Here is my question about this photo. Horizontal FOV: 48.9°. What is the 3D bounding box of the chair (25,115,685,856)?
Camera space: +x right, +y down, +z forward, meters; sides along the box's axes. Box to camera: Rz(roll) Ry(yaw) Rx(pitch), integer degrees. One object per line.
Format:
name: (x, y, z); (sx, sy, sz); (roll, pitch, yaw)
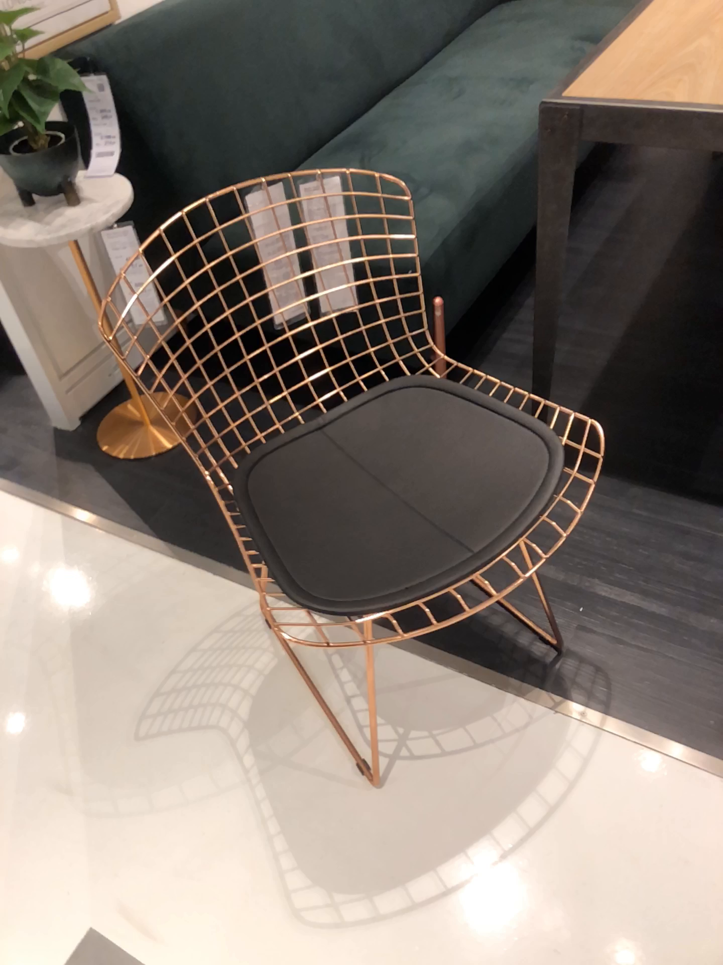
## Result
chair: (0.006, 0.001, 1.140); (0.521, 0.744, 0.543); (-31, 48, -21)
